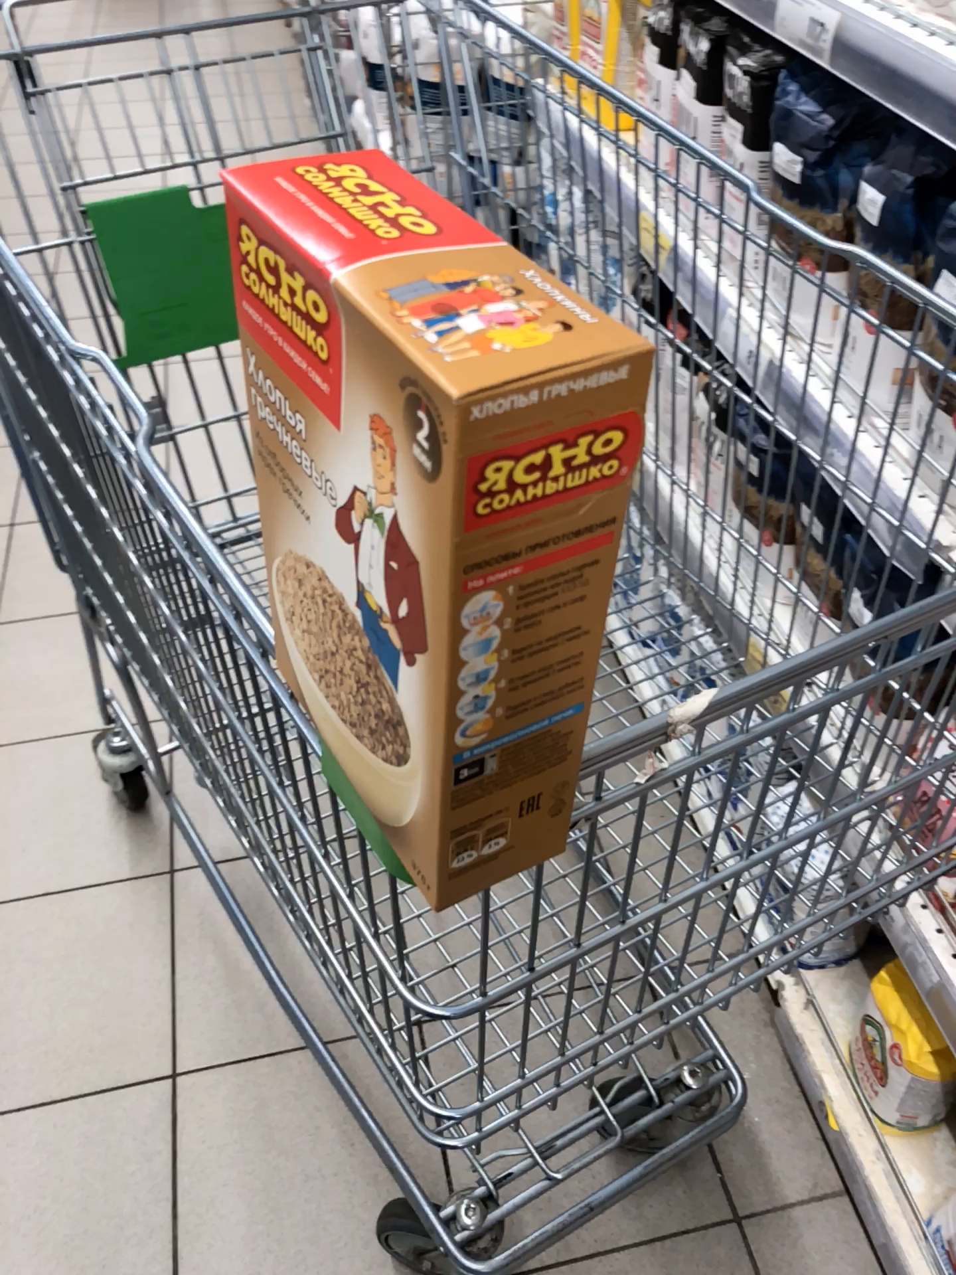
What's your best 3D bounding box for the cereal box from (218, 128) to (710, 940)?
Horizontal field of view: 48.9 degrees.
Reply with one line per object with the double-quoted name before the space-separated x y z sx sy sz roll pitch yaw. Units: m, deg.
"cereal box" -0.013 -0.026 0.310 0.060 0.189 0.131 -19 47 -22
